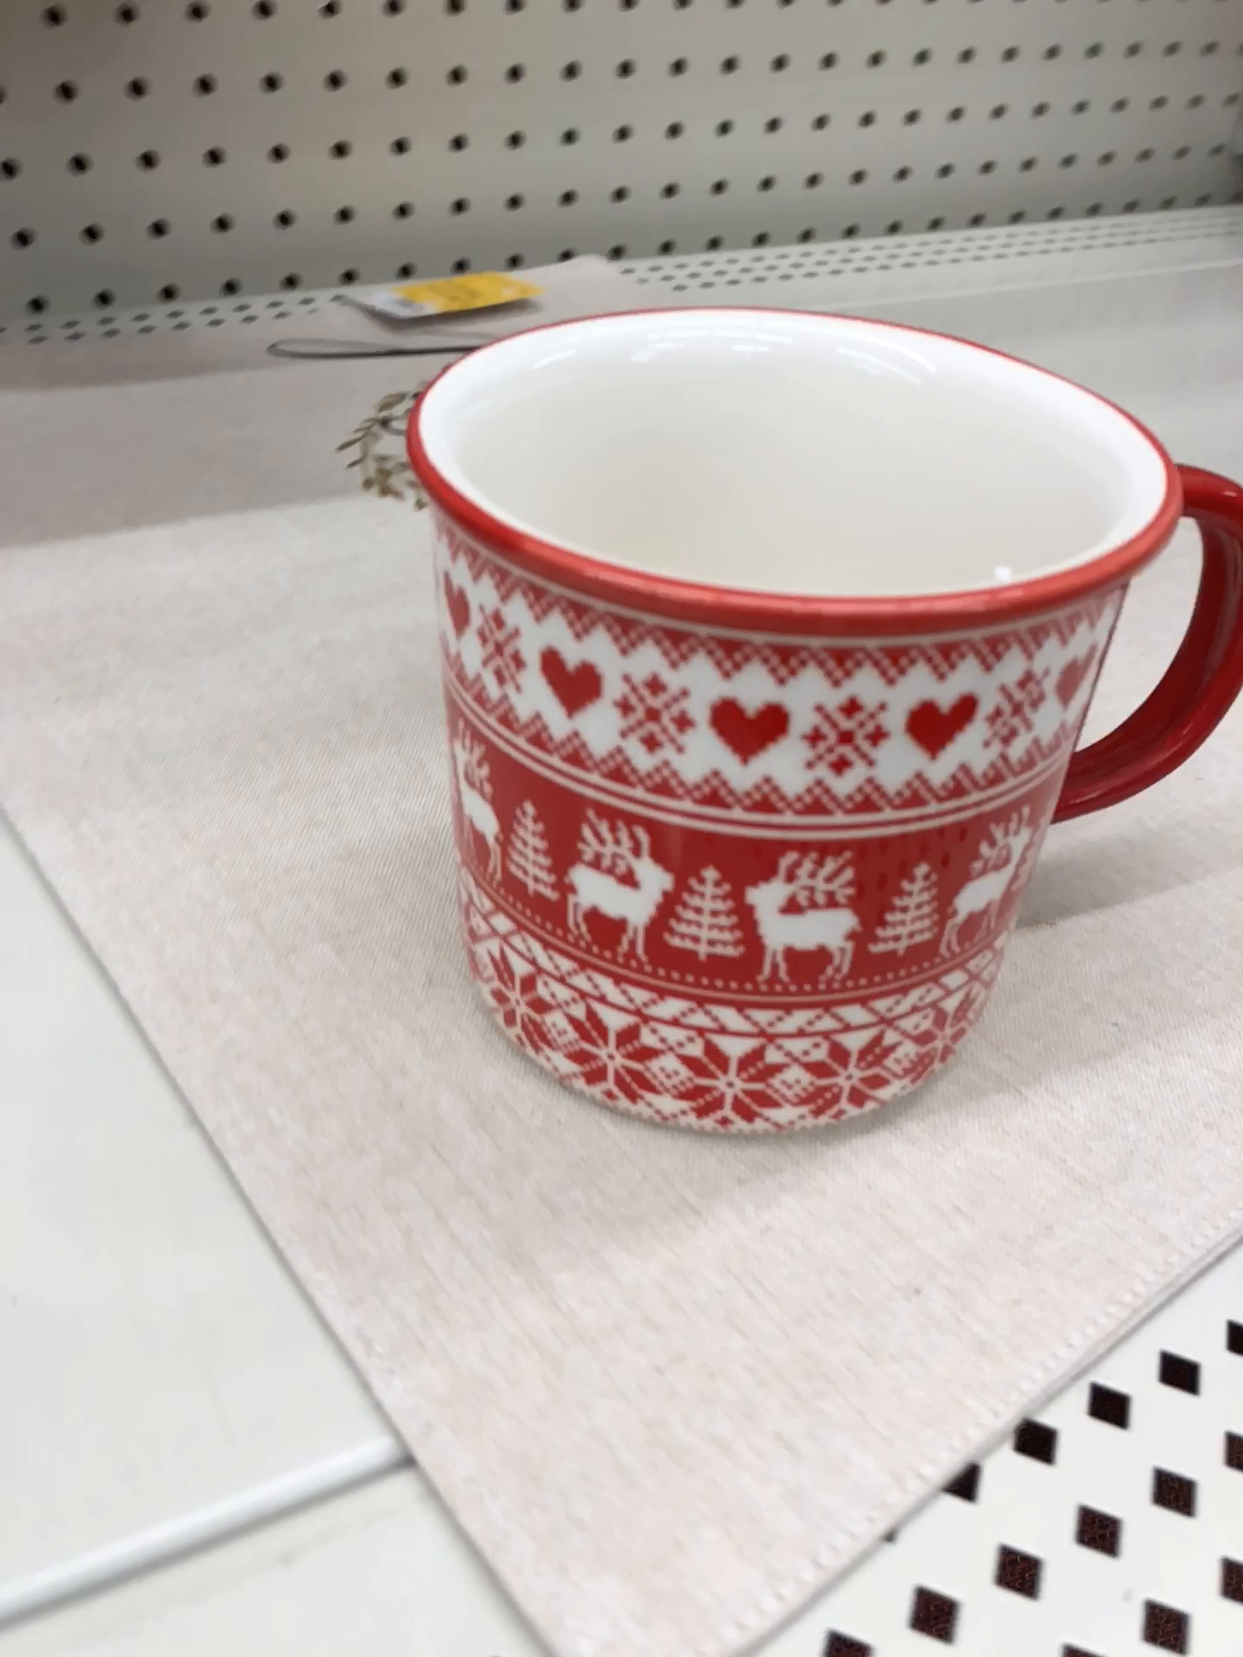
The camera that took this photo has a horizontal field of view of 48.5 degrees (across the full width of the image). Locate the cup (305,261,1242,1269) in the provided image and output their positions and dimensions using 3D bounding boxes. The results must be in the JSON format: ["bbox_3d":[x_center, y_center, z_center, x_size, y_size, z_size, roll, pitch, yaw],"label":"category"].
[{"bbox_3d":[0.039,-0.022,0.229,0.150,0.100,0.100,-14,41,-21],"label":"cup"}]
